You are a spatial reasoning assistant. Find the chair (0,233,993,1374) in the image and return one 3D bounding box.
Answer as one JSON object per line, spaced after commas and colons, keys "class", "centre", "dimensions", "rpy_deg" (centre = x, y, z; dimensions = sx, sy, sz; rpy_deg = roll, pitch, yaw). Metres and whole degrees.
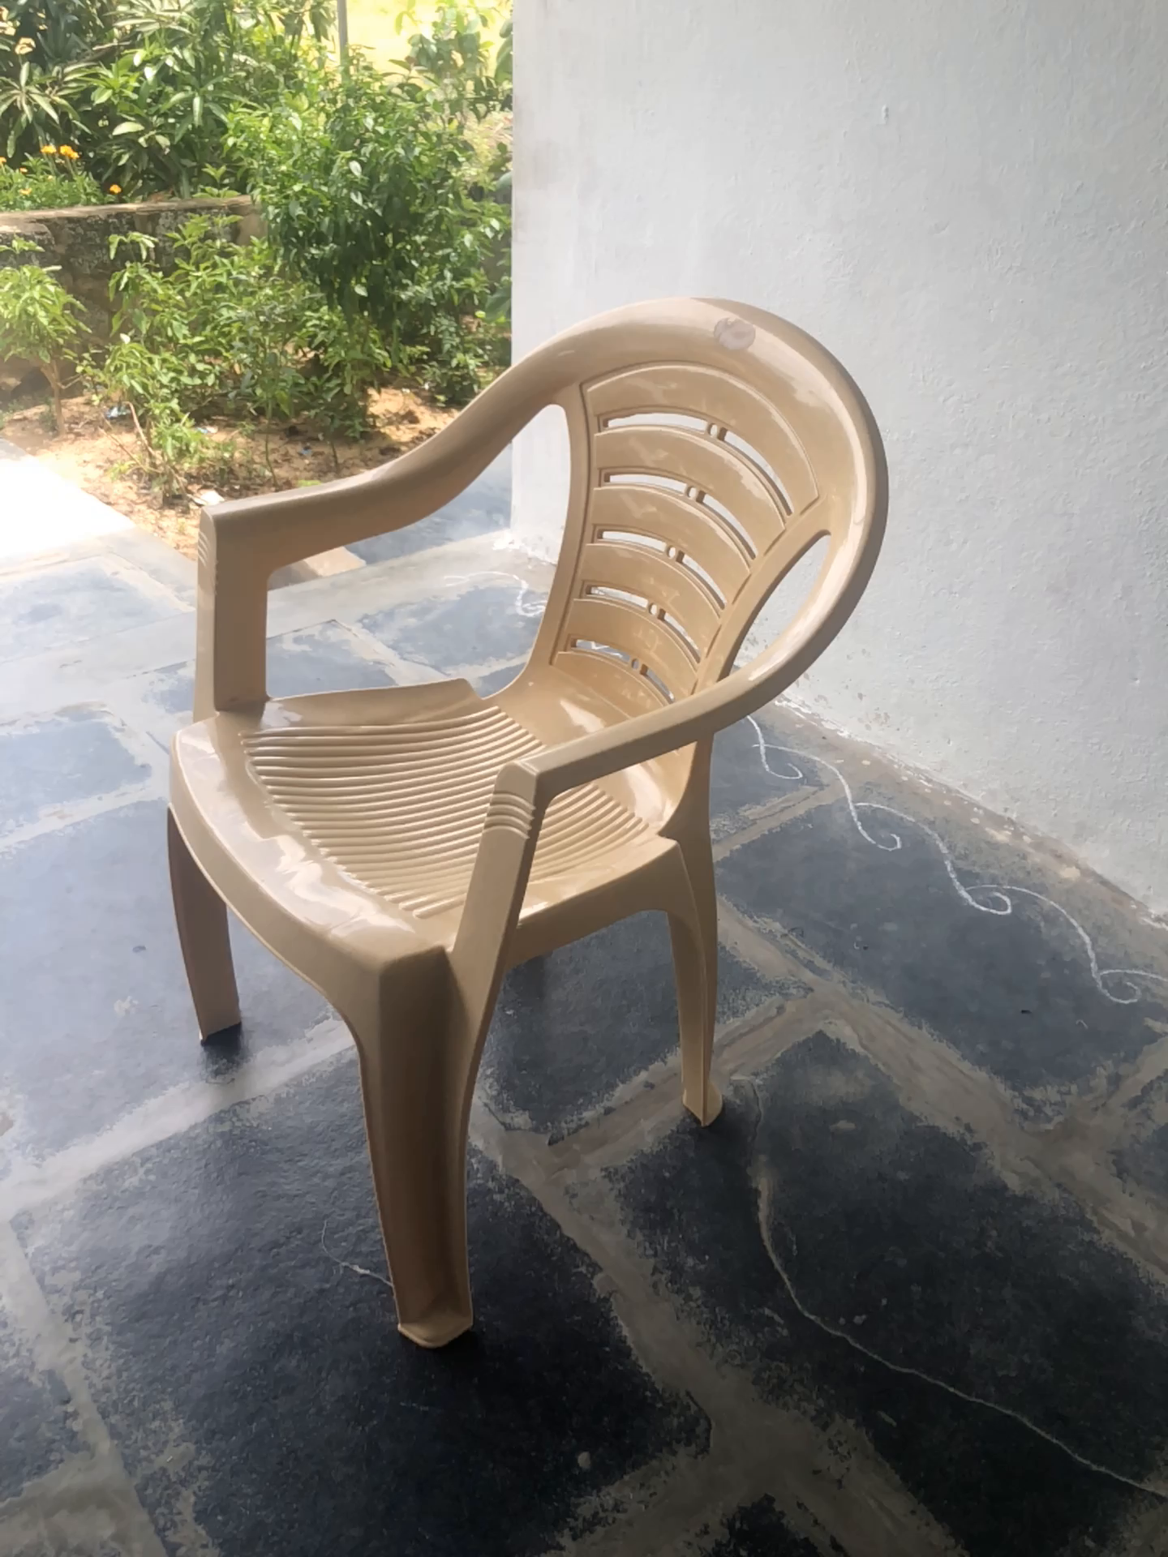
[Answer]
{"class": "chair", "centre": [-0.126, -0.050, 1.253], "dimensions": [0.653, 0.736, 0.621], "rpy_deg": [-25, 43, -35]}
